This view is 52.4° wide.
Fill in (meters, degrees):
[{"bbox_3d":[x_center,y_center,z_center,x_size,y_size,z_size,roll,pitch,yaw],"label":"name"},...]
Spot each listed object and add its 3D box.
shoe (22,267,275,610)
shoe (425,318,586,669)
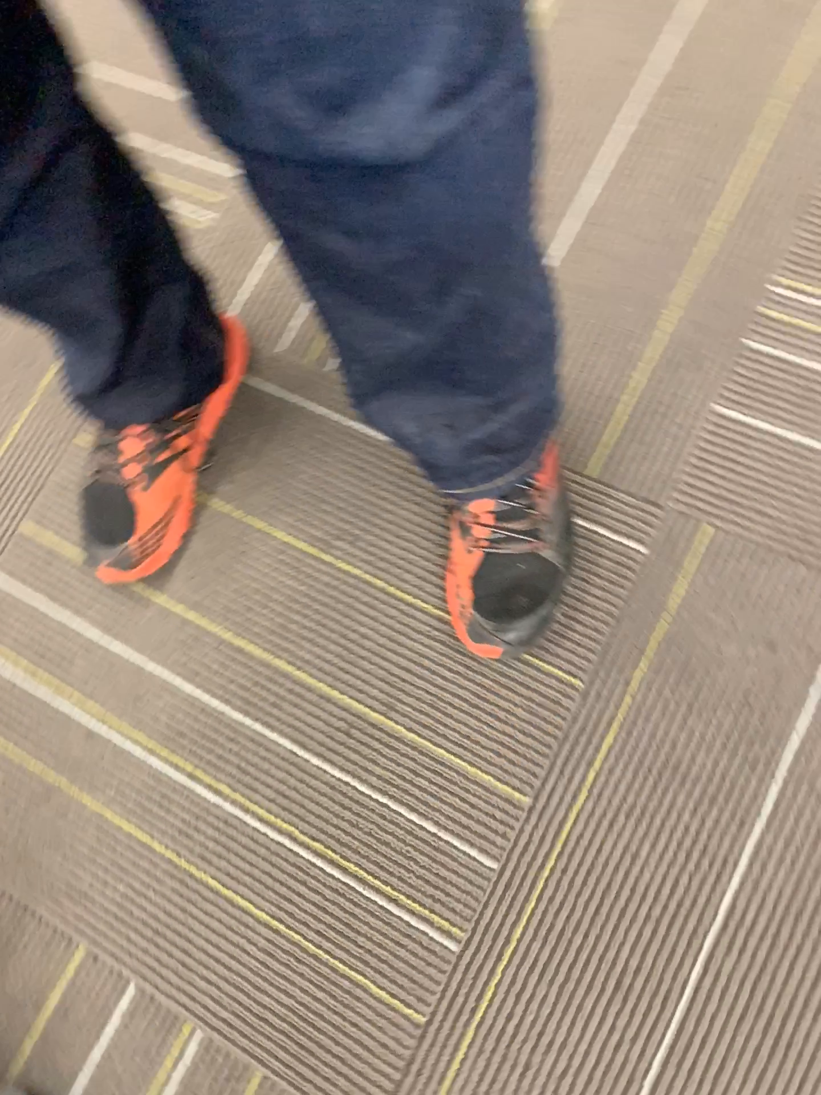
[{"bbox_3d":[-0.264,-0.113,0.876,0.120,0.120,0.320,12,77,14],"label":"shoe"},{"bbox_3d":[0.089,-0.045,0.765,0.130,0.100,0.300,-2,74,11],"label":"shoe"}]
